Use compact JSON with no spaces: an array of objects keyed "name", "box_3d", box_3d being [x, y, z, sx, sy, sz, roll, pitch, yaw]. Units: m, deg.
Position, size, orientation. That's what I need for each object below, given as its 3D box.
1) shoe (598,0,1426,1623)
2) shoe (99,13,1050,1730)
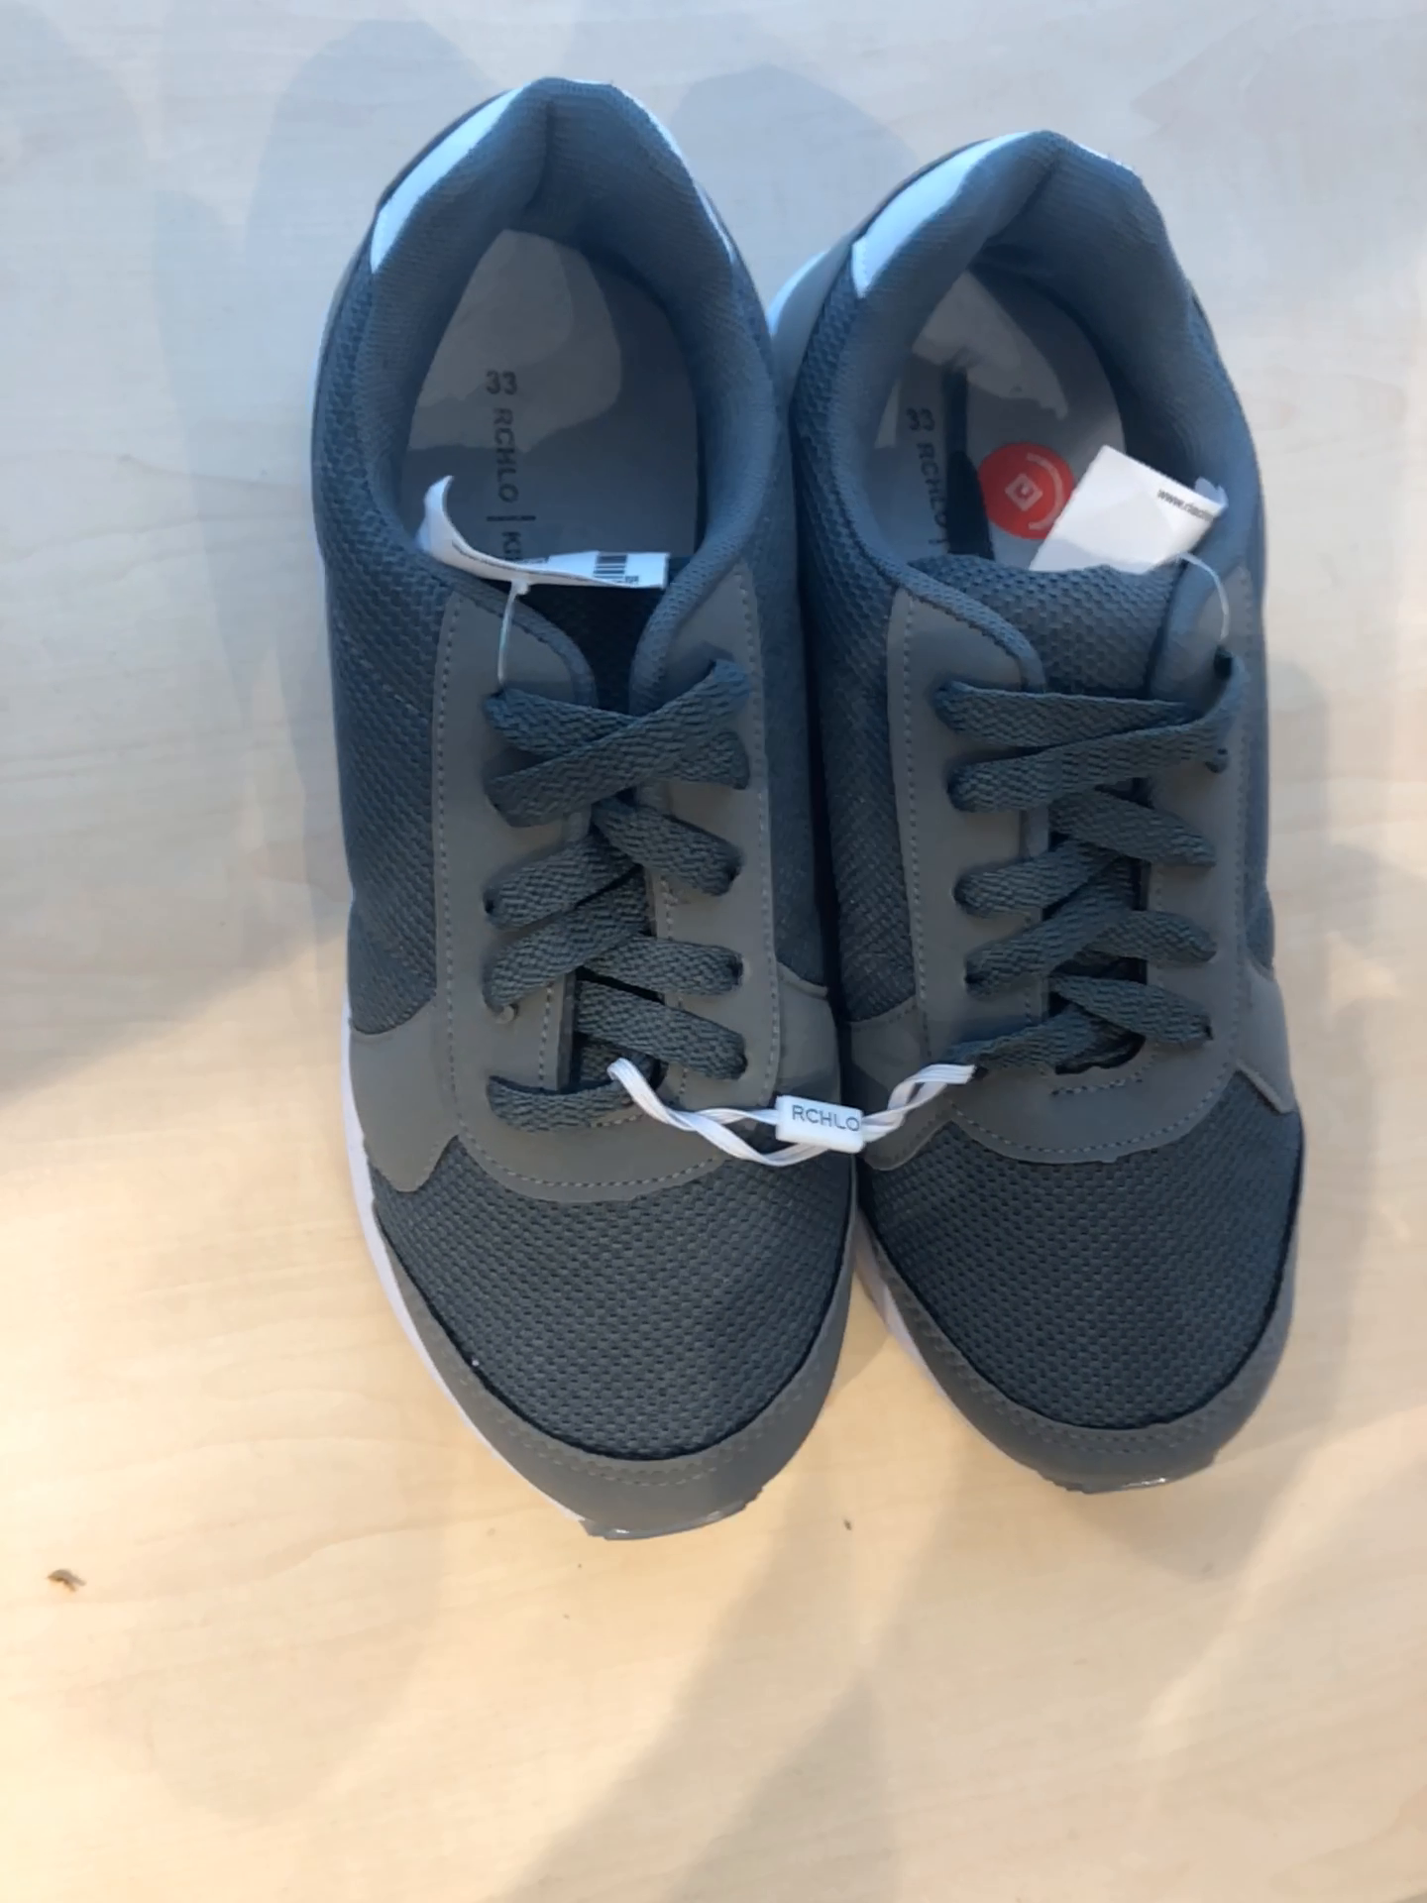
[{"name":"shoe","box_3d":[0.055,-0.026,0.294,0.100,0.100,0.240,-11,88,-11]},{"name":"shoe","box_3d":[-0.027,-0.015,0.271,0.100,0.100,0.230,-8,87,-11]}]
